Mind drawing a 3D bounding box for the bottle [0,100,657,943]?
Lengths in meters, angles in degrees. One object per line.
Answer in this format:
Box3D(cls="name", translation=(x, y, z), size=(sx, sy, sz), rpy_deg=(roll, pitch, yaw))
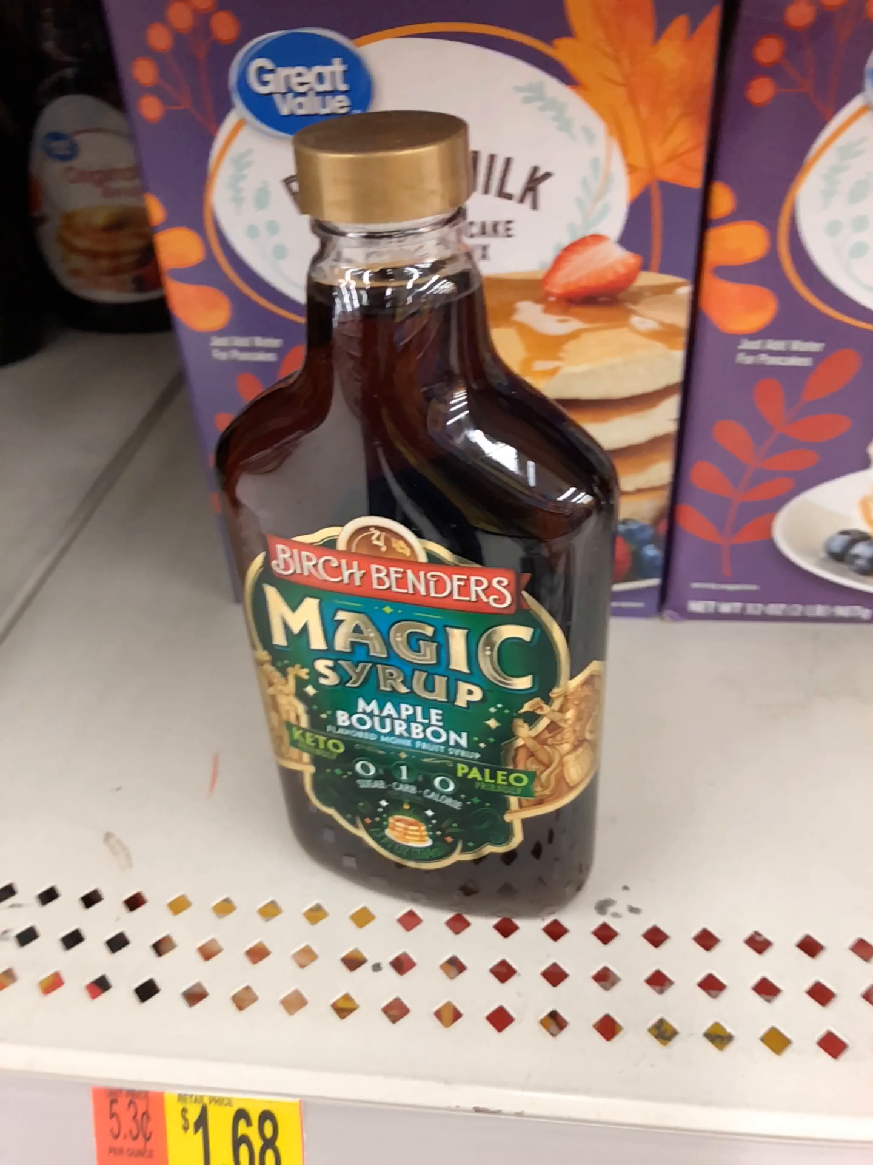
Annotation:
Box3D(cls="bottle", translation=(-0.011, -0.004, 0.219), size=(0.100, 0.180, 0.050), rpy_deg=(8, 39, 16))
